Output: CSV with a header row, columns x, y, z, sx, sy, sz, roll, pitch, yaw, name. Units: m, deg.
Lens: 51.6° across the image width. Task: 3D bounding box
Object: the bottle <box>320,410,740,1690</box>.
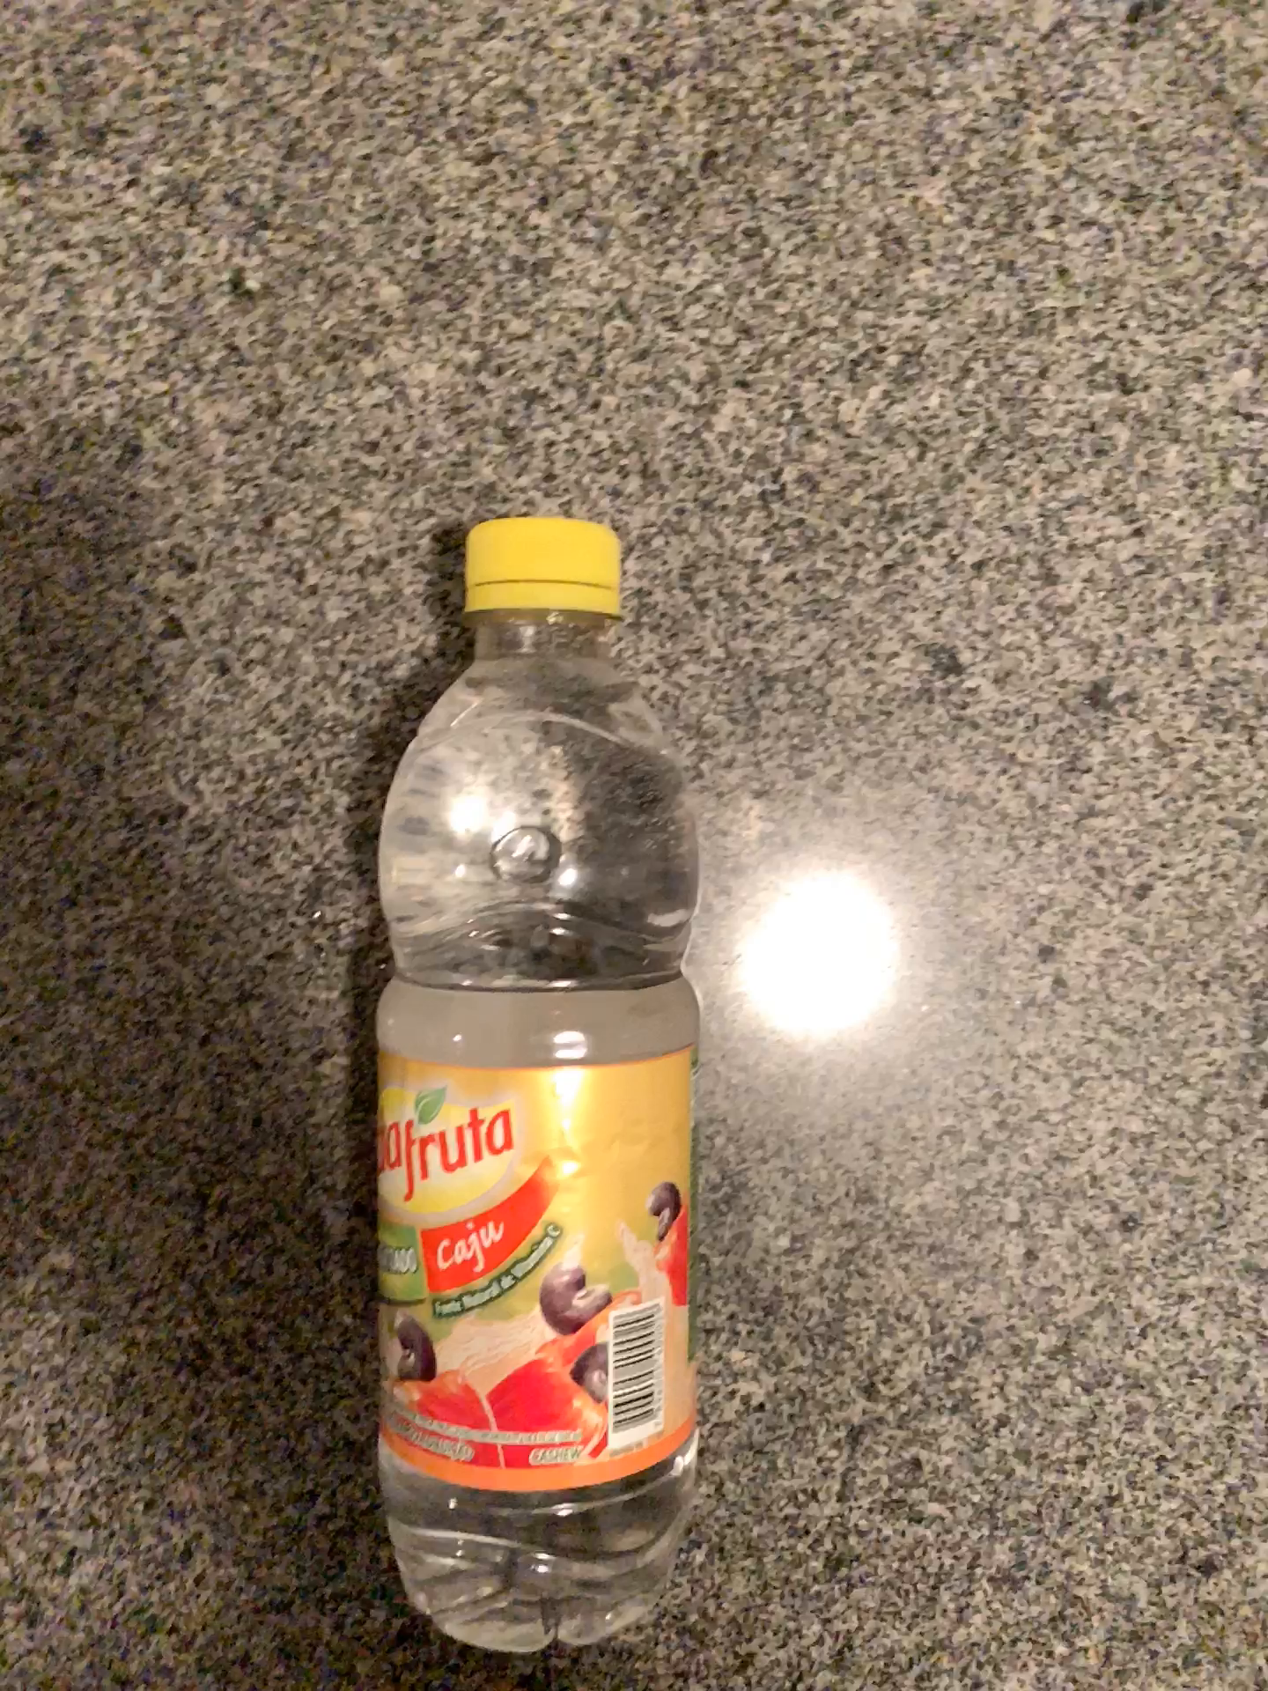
x,y,z,sx,sy,sz,roll,pitch,yaw,name
-0.019,0.040,0.258,0.070,0.060,0.230,-1,92,-5,bottle
